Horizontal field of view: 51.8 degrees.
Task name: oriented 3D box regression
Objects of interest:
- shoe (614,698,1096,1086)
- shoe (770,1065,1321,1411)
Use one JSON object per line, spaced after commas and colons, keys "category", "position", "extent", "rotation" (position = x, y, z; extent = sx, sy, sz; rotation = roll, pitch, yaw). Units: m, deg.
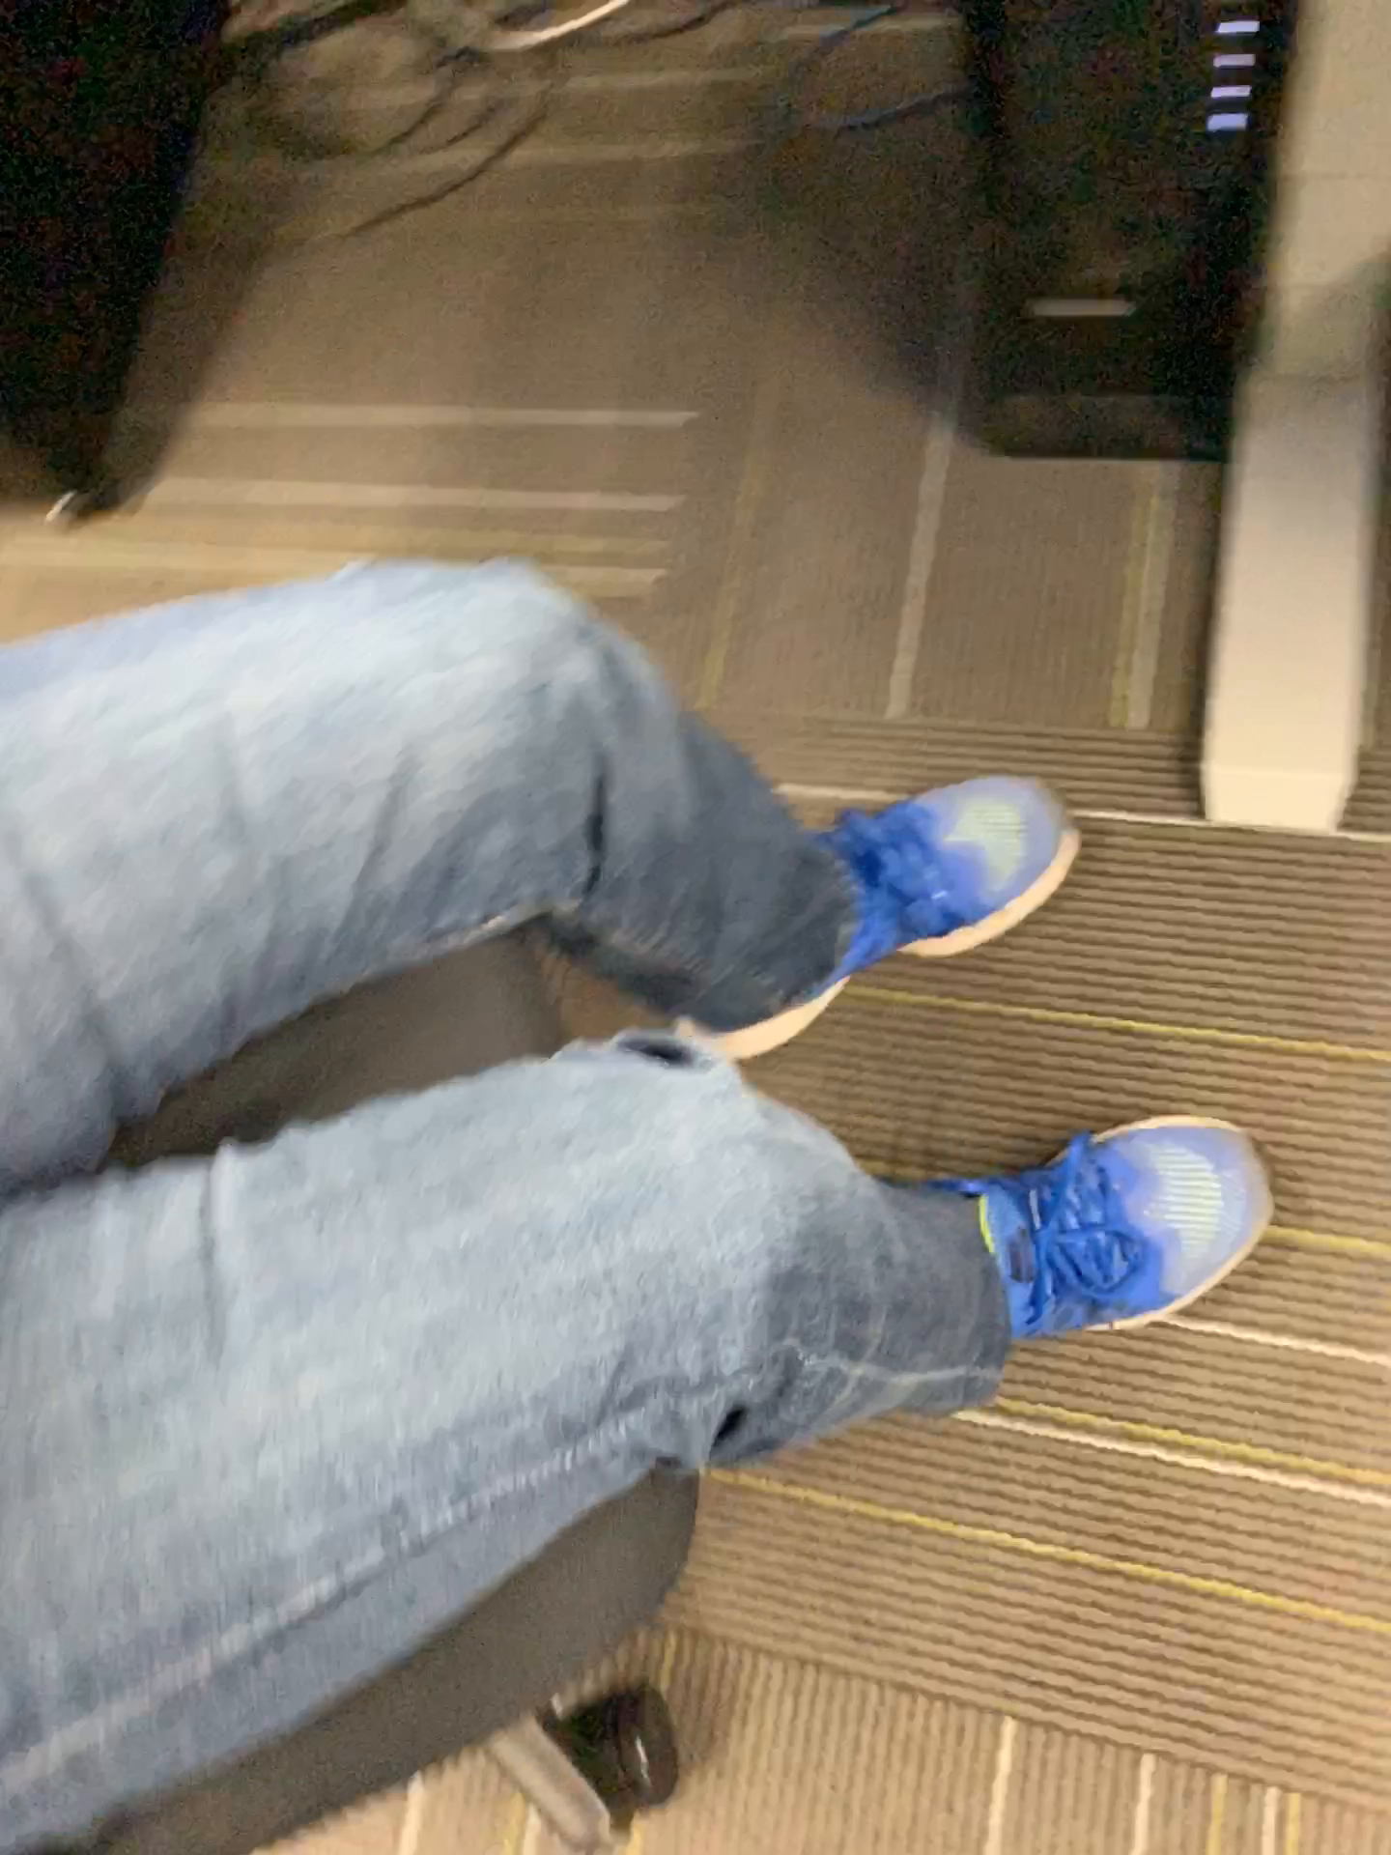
{"category": "shoe", "position": [0.104, -0.019, 0.928], "extent": [0.278, 0.083, 0.116], "rotation": [-28, 68, 5]}
{"category": "shoe", "position": [0.199, 0.187, 0.846], "extent": [0.278, 0.083, 0.117], "rotation": [-19, 69, 8]}
